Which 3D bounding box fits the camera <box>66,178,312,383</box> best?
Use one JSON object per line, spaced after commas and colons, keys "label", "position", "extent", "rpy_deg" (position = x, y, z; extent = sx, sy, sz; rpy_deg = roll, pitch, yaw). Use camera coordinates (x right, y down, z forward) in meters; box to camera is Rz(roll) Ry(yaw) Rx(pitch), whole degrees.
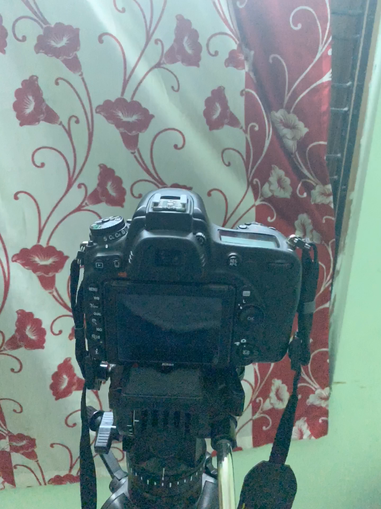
{"label": "camera", "position": [-0.003, 0.008, 0.299], "extent": [0.139, 0.112, 0.129], "rpy_deg": [2, 16, 0]}
